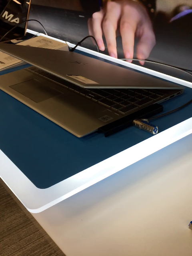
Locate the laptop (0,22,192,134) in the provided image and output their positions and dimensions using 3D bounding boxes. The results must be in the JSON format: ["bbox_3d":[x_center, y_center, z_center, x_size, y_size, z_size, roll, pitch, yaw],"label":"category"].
[{"bbox_3d":[-0.042,-0.137,0.556,0.261,0.105,0.338,-28,42,-29],"label":"laptop"}]
